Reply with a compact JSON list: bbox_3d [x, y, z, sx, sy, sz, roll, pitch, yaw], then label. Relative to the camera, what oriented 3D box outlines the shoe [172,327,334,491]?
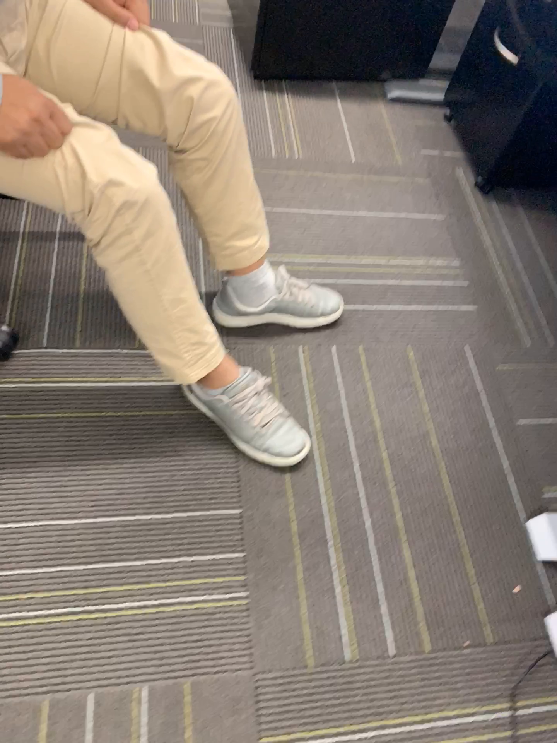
[{"bbox_3d":[-0.056,0.070,1.061,0.270,0.139,0.120,37,59,12],"label":"shoe"}]

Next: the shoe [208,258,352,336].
[{"bbox_3d":[-0.002,-0.160,1.222,0.280,0.110,0.120,-2,59,-13],"label":"shoe"}]
